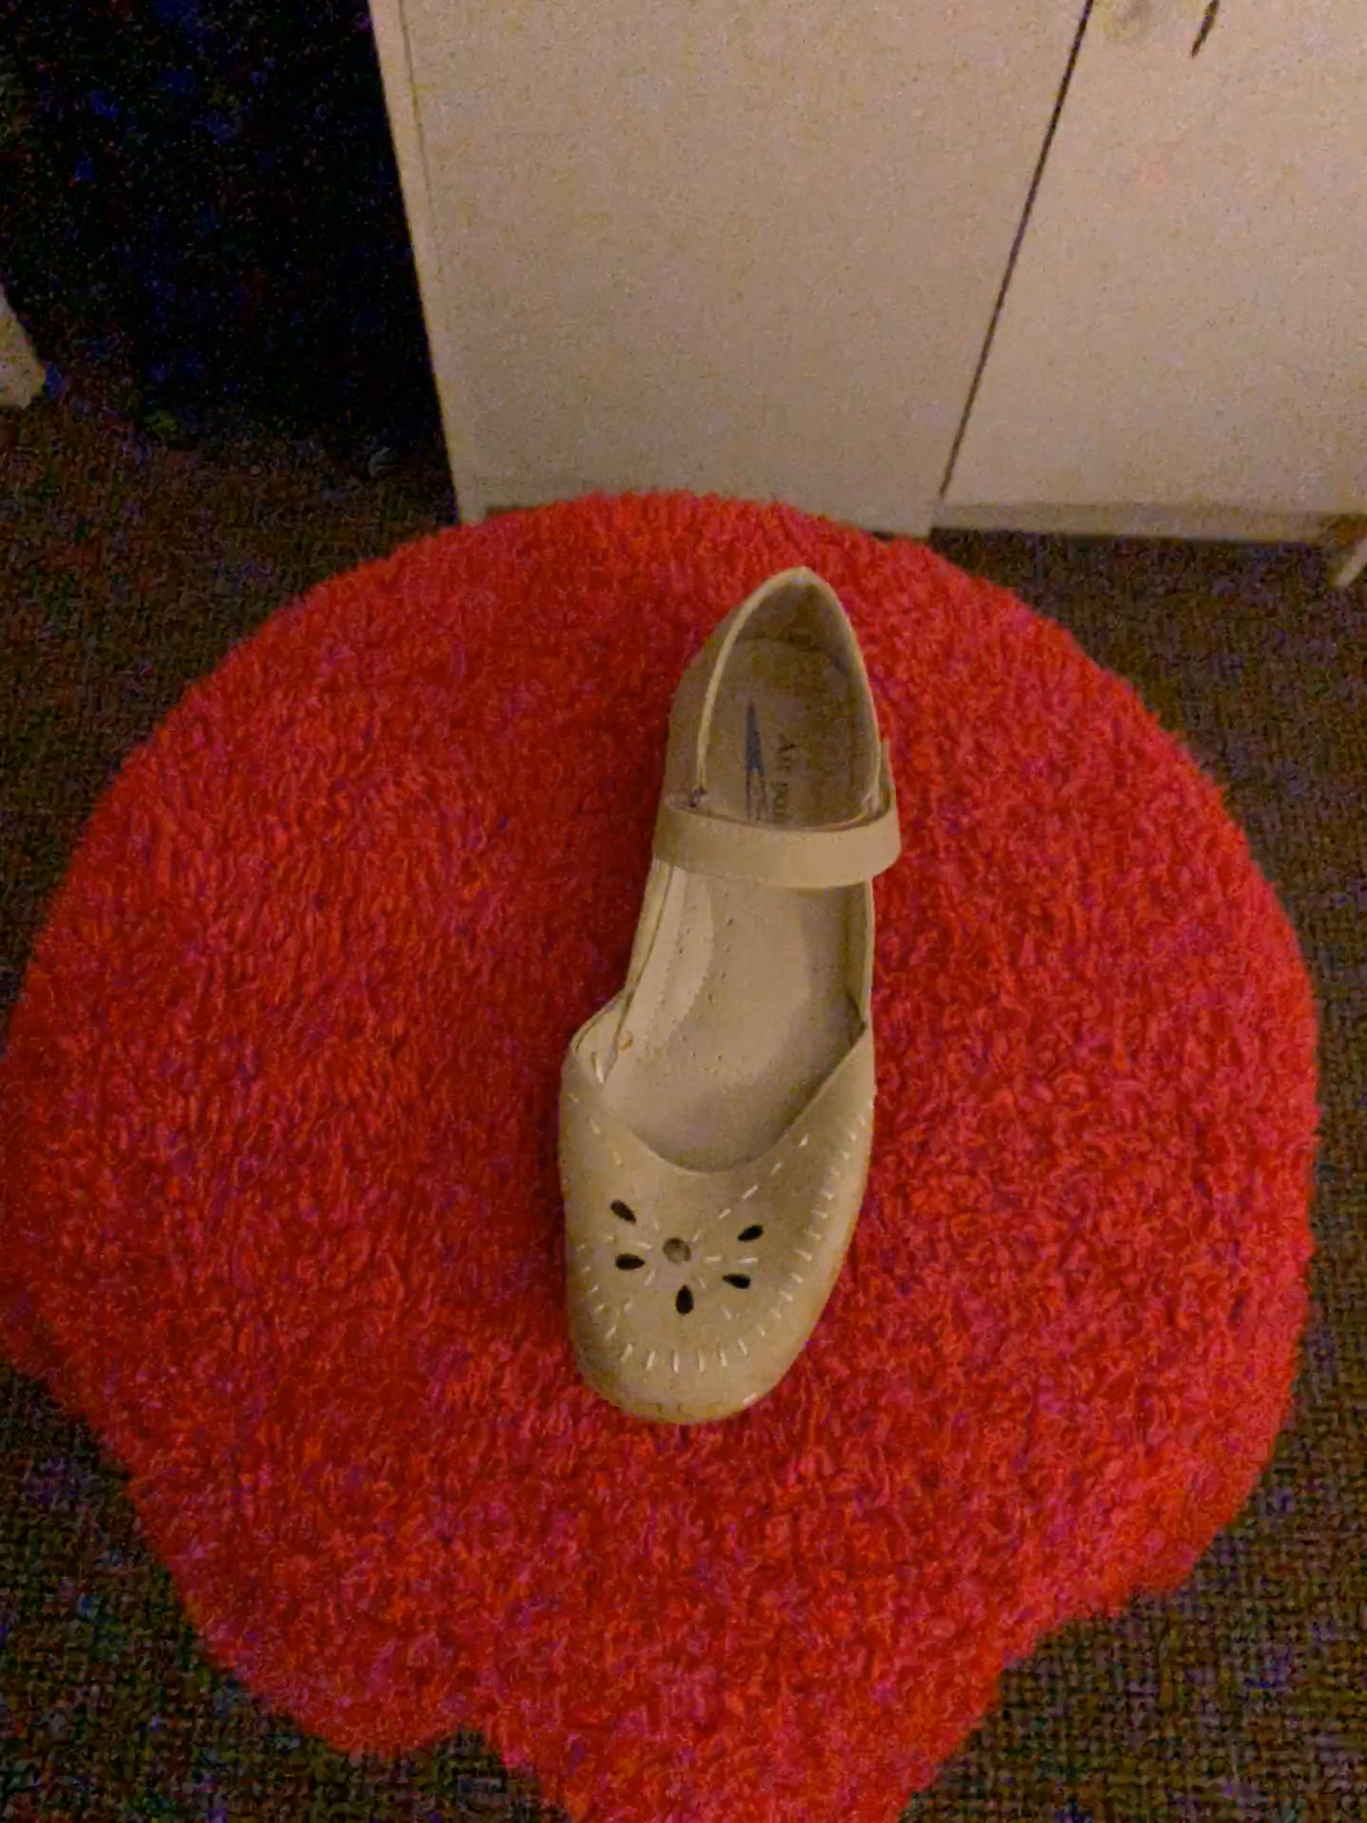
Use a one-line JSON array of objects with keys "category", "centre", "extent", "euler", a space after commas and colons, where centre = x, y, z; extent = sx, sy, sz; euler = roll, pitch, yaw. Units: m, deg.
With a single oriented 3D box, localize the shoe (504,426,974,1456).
[{"category": "shoe", "centre": [0.025, -0.002, 0.442], "extent": [0.095, 0.080, 0.307], "euler": [9, 65, 2]}]
